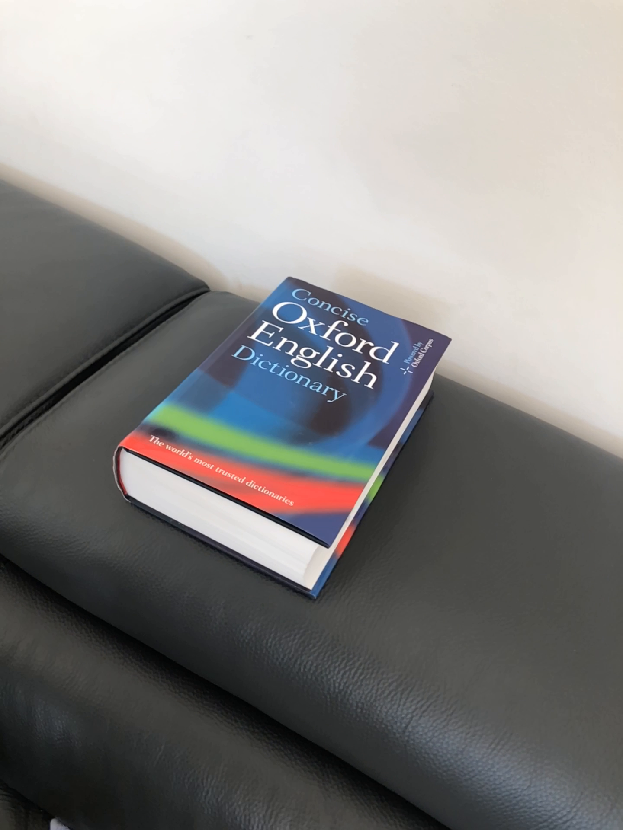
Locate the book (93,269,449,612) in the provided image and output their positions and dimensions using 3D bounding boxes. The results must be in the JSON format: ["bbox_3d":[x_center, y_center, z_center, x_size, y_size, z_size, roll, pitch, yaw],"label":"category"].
[{"bbox_3d":[-0.017,0.000,0.540,0.170,0.070,0.252,23,46,13],"label":"book"}]
